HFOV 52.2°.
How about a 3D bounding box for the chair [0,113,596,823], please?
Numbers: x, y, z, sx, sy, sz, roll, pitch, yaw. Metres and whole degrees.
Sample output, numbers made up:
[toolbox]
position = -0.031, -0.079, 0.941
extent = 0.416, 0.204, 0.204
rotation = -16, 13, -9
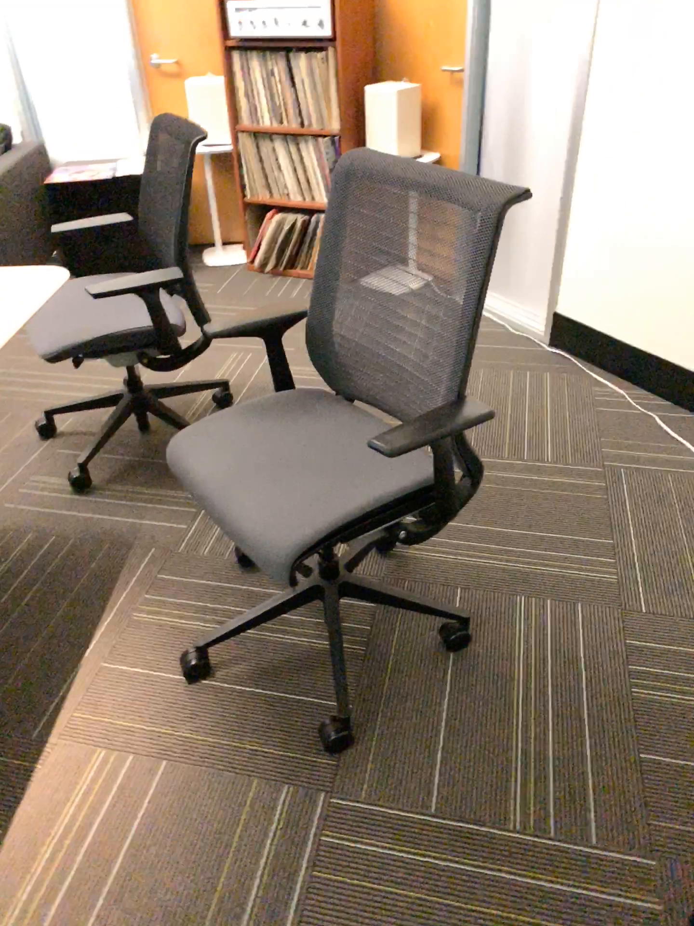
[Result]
[chair]
position = -0.119, -0.053, 1.565
extent = 0.801, 1.114, 0.794
rotation = -28, 43, -30
